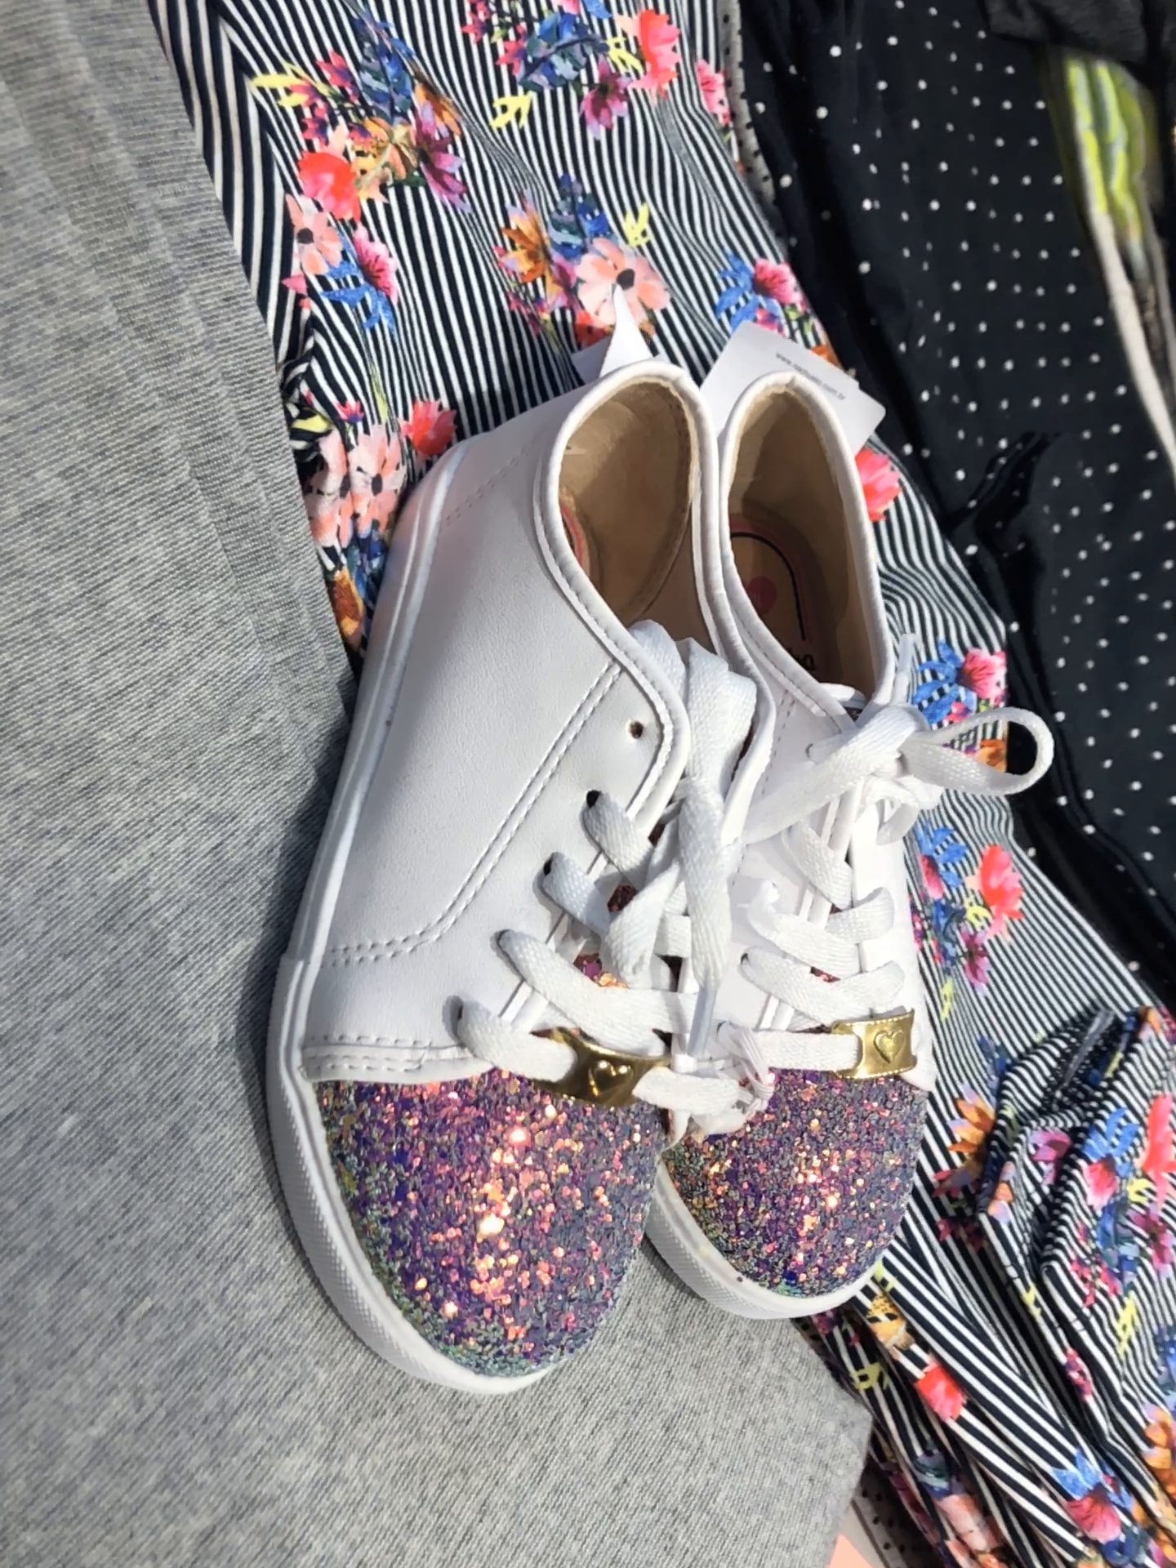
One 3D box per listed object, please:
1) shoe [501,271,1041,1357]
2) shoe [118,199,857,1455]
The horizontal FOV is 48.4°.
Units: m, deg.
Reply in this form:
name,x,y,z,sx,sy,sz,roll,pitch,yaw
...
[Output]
name,x,y,z,sx,sy,sz,roll,pitch,yaw
shoe,0.037,0.008,0.284,0.080,0.070,0.200,10,74,-29
shoe,-0.011,0.009,0.238,0.080,0.070,0.190,21,68,-34
